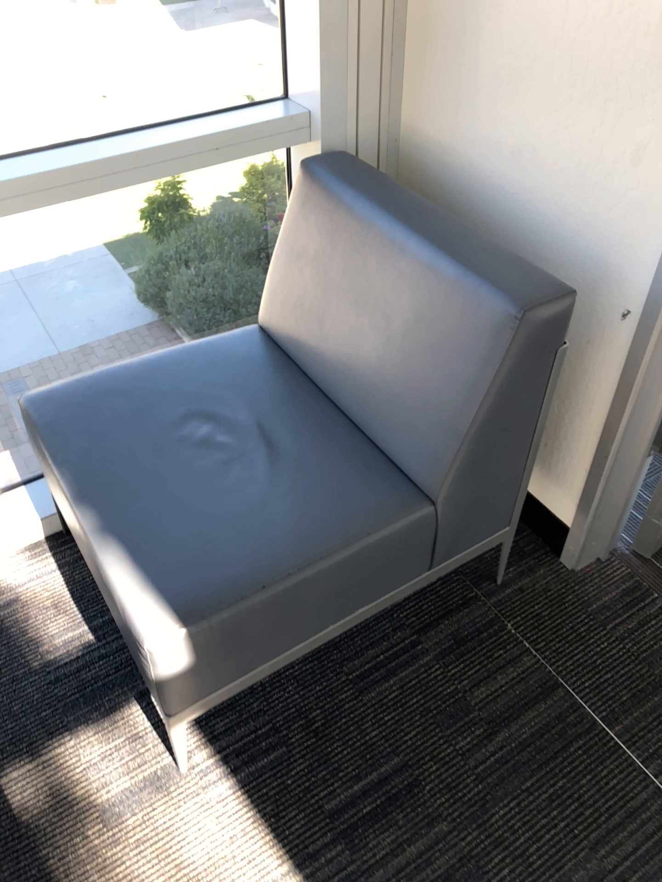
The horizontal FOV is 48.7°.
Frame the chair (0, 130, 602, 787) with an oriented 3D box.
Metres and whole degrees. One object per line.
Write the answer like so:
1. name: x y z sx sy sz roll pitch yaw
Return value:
1. chair: -0.134 -0.035 1.378 0.750 0.707 0.773 -23 47 -22
